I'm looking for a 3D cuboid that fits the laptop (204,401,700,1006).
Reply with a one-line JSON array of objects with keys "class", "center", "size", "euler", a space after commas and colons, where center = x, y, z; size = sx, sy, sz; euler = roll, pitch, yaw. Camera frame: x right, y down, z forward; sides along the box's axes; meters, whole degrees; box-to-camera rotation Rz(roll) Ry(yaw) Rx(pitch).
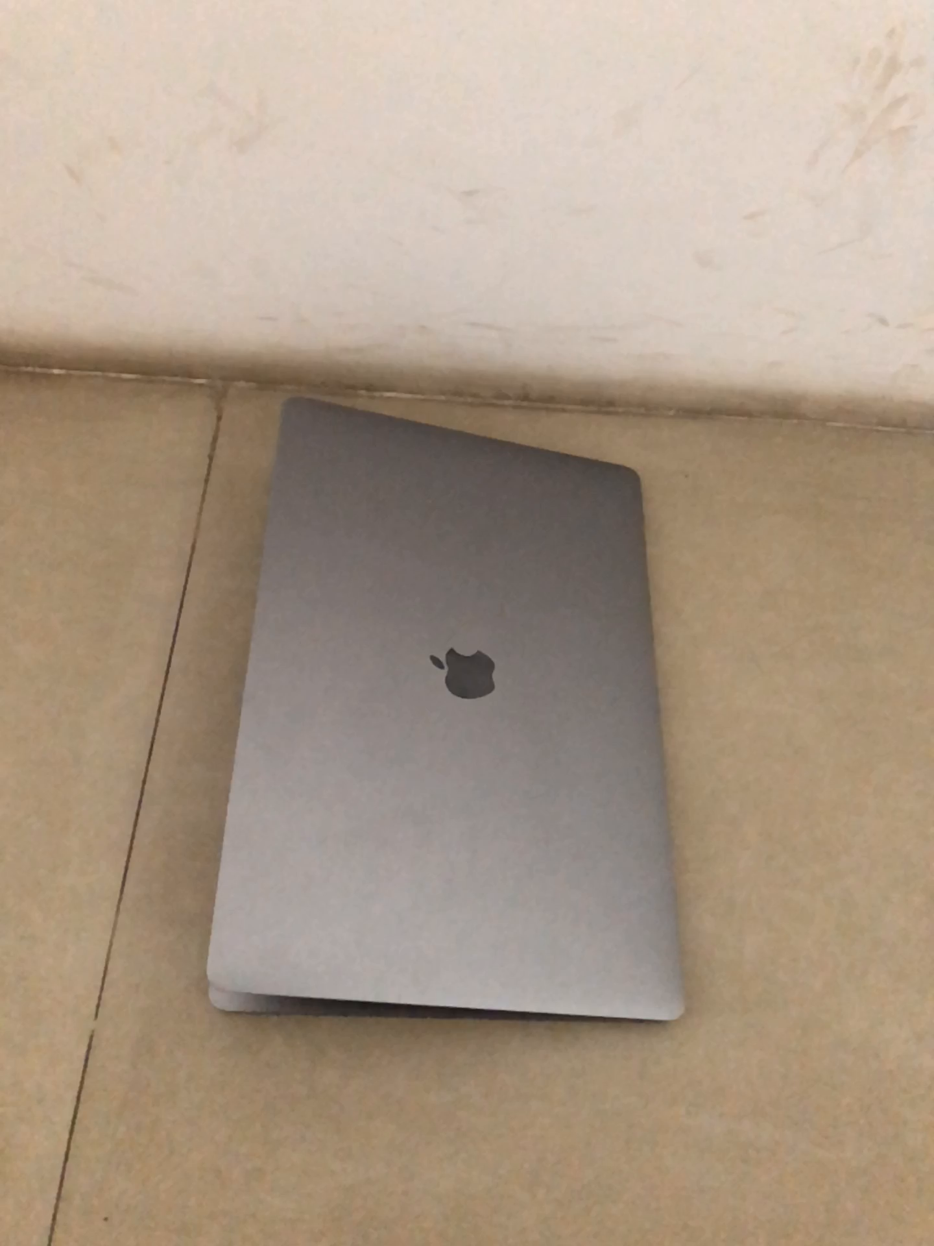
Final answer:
[{"class": "laptop", "center": [-0.002, 0.030, 0.586], "size": [0.232, 0.057, 0.336], "euler": [3, 61, -1]}]
